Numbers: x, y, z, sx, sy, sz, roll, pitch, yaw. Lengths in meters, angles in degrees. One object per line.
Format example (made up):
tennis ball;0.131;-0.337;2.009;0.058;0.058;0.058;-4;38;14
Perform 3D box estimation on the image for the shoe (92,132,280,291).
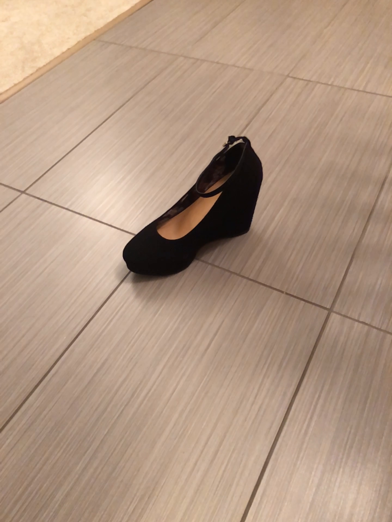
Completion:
shoe;-0.011;-0.075;0.652;0.240;0.139;0.100;-20;51;-13
